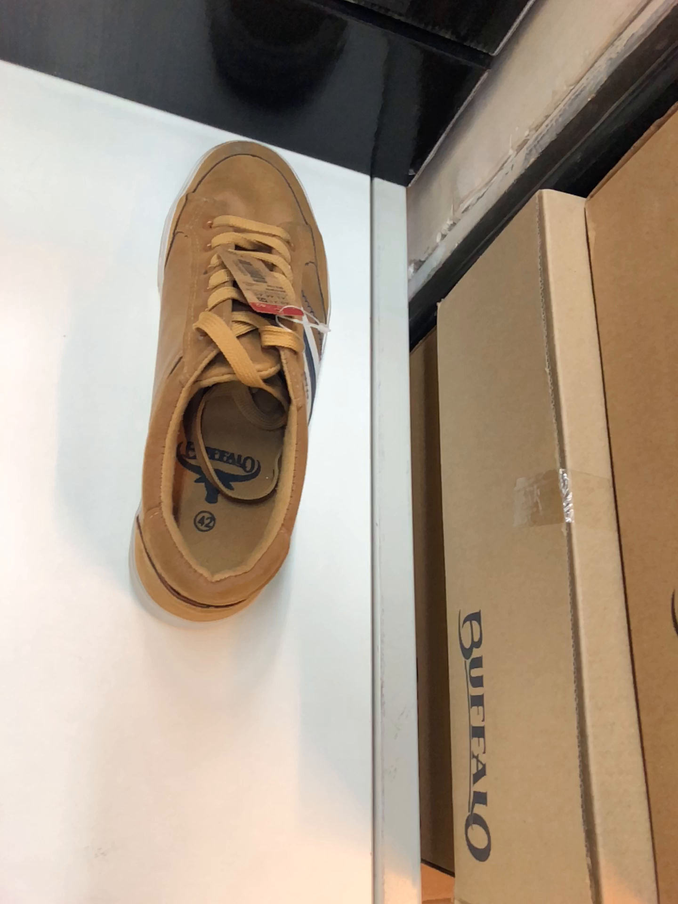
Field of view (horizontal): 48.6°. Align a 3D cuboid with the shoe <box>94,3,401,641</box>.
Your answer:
[{"bbox_3d":[-0.043,-0.062,0.388,0.105,0.104,0.295,11,69,-18],"label":"shoe"}]
